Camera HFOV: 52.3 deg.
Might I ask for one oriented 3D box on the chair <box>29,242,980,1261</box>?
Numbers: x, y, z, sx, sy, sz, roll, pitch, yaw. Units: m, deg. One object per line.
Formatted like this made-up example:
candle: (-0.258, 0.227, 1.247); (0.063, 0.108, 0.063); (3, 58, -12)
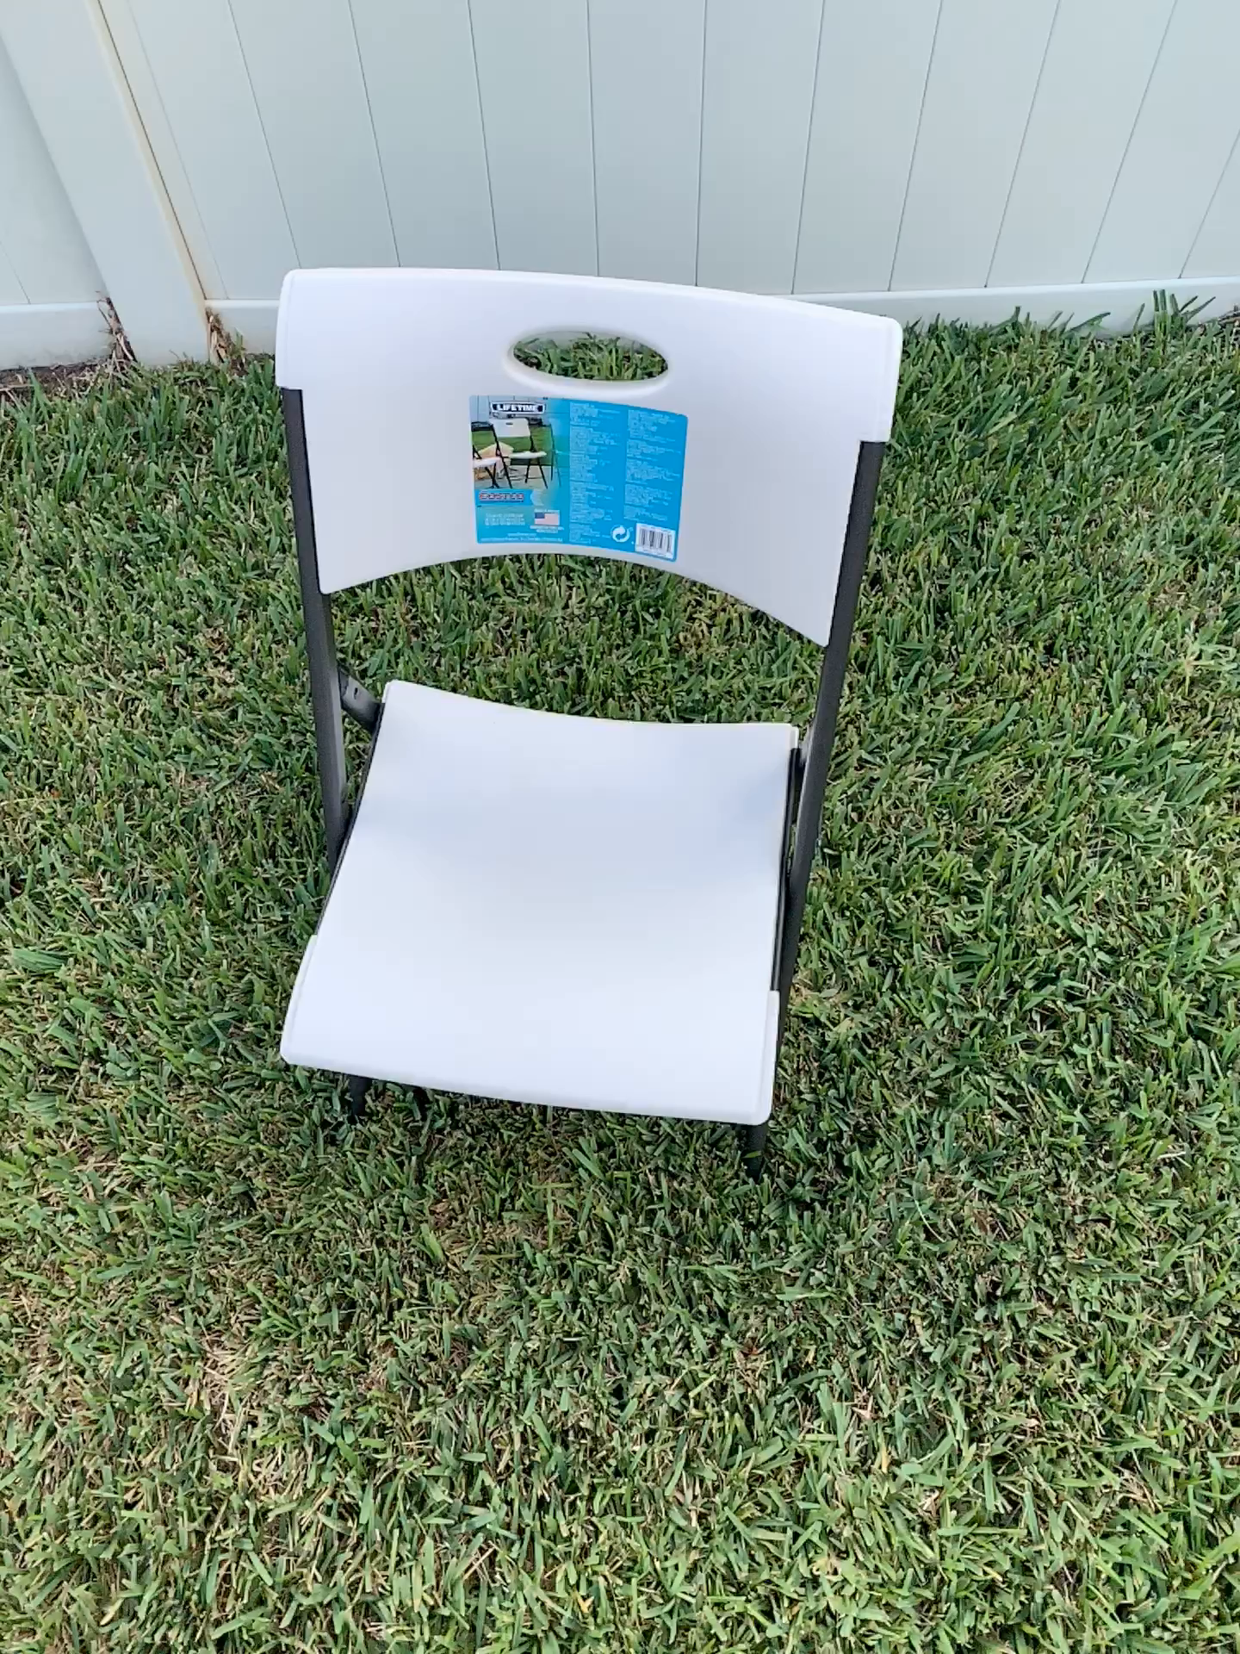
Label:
chair: (-0.027, -0.002, 1.138); (0.518, 0.768, 0.518); (6, 58, 5)
